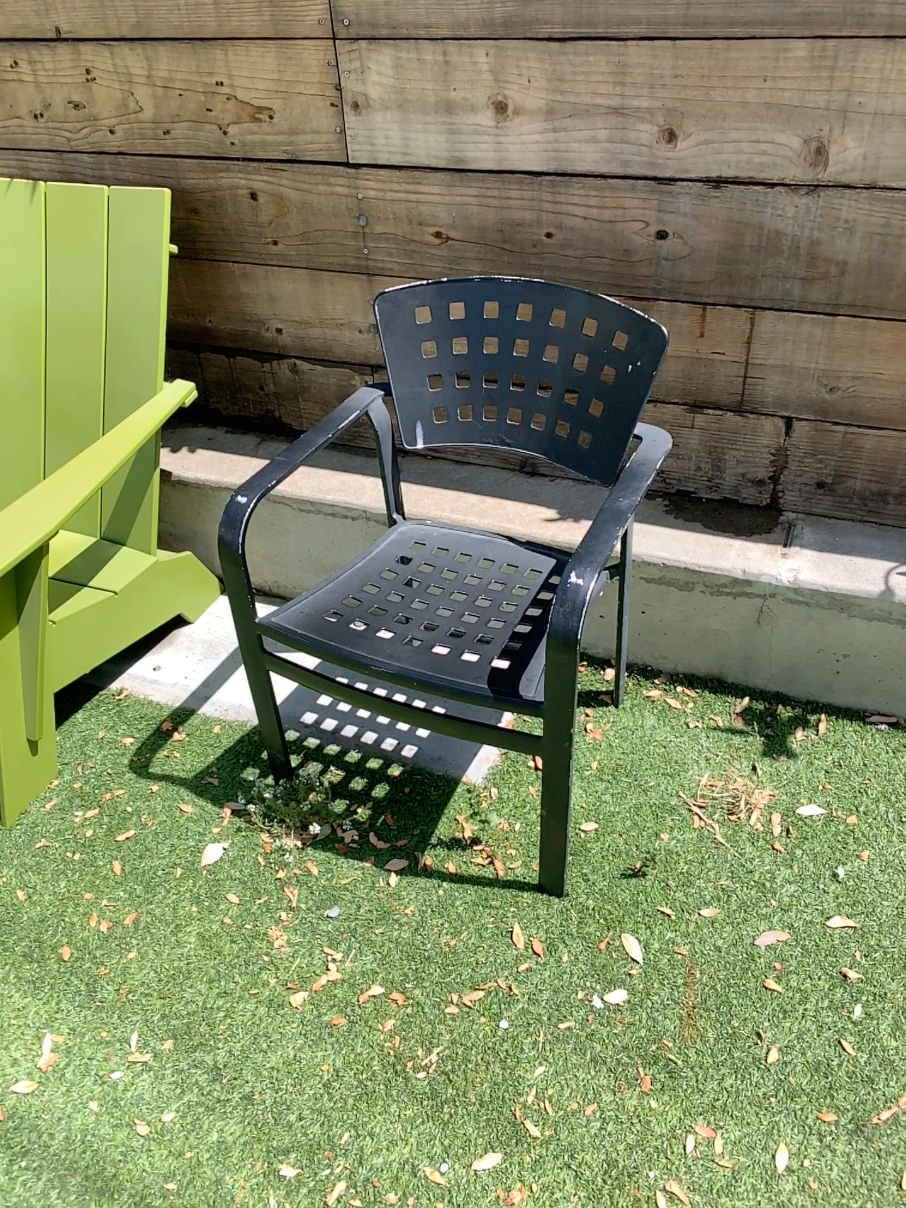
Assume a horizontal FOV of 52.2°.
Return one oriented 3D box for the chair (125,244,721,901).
[{"bbox_3d":[0.005,-0.070,1.405,0.591,0.716,0.522,14,43,22],"label":"chair"}]
